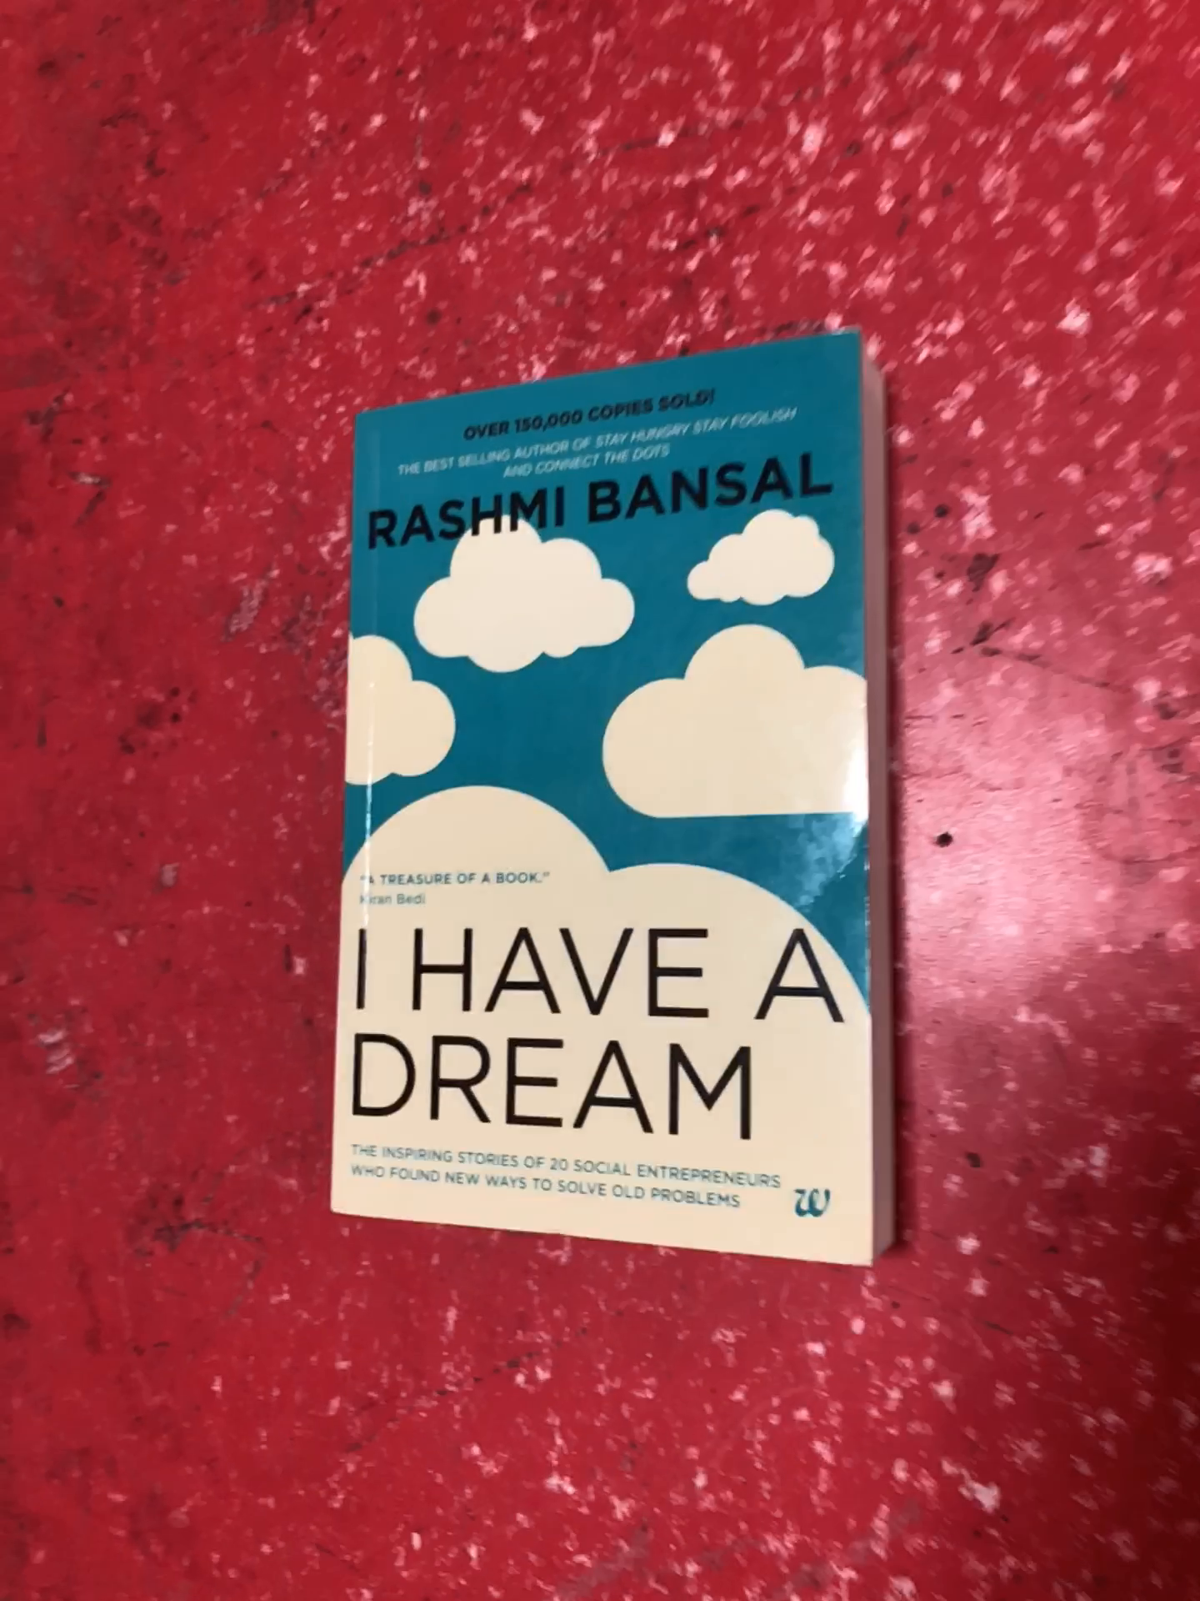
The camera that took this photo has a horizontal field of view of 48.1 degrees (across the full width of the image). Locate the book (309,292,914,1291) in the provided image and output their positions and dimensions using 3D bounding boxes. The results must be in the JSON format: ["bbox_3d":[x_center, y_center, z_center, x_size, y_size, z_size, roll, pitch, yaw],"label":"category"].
[{"bbox_3d":[0.000,-0.001,0.306,0.130,0.030,0.200,-3,82,22],"label":"book"}]
